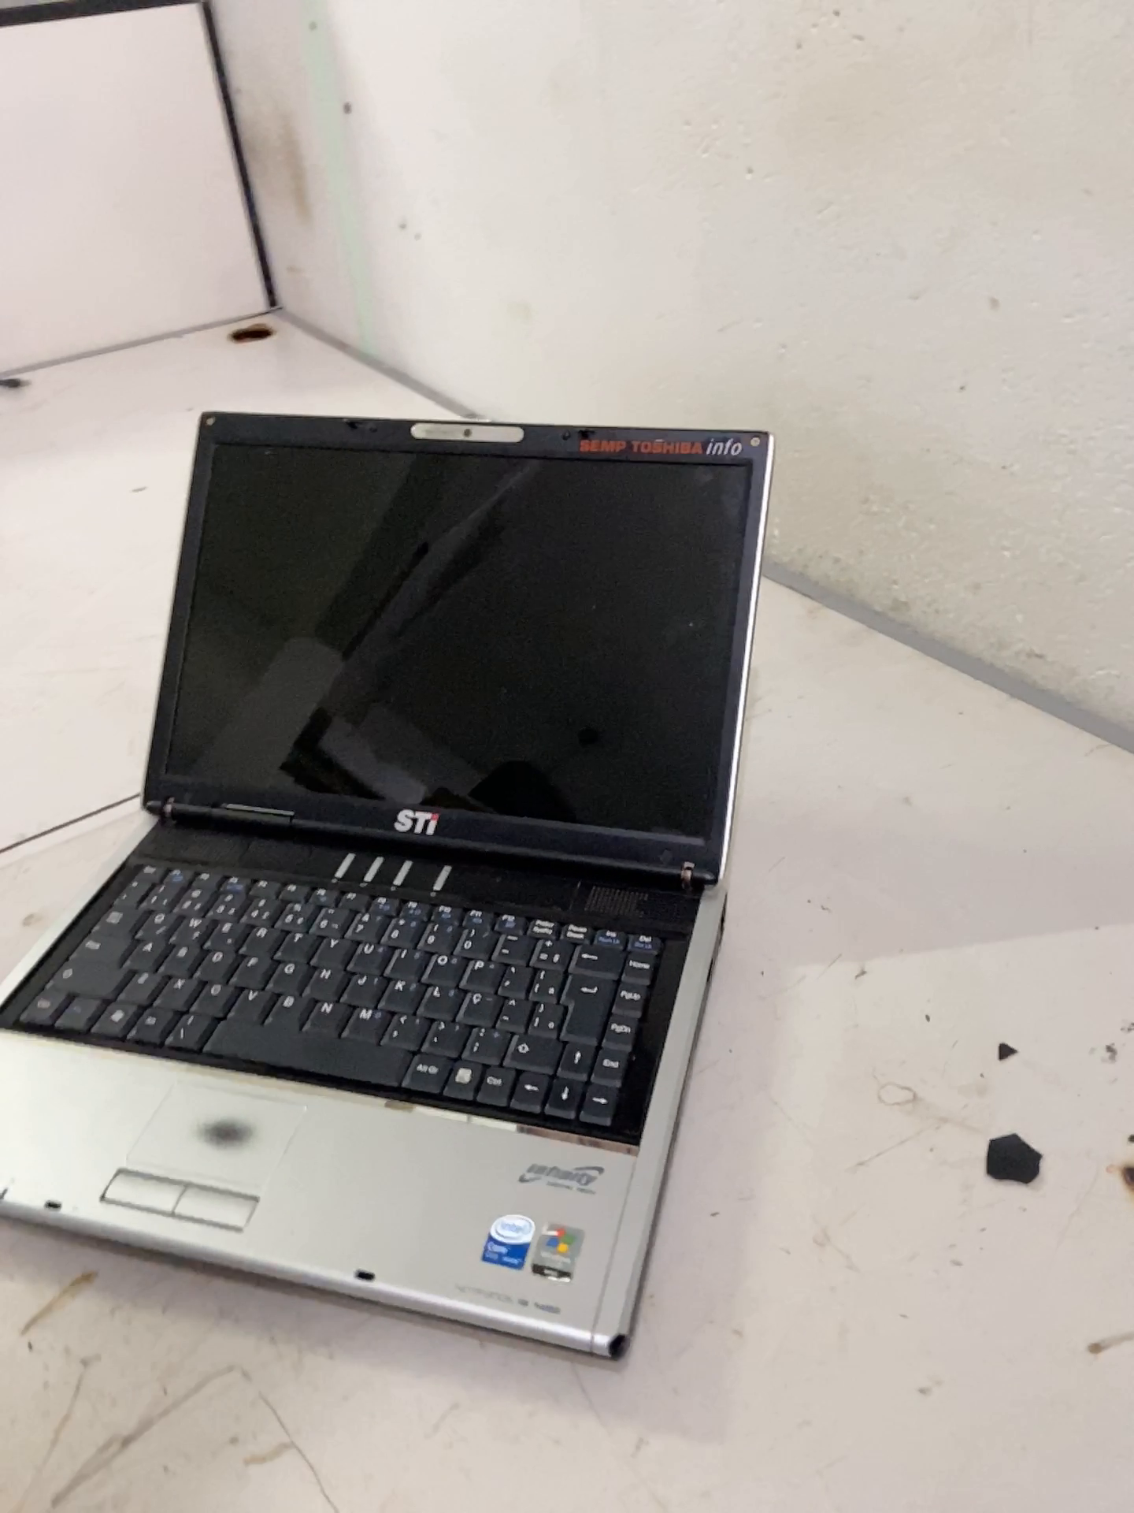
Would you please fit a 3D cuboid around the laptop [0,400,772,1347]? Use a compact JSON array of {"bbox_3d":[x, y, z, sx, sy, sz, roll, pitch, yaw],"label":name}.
[{"bbox_3d":[-0.095,-0.002,0.537,0.325,0.167,0.388,6,40,15],"label":"laptop"}]
